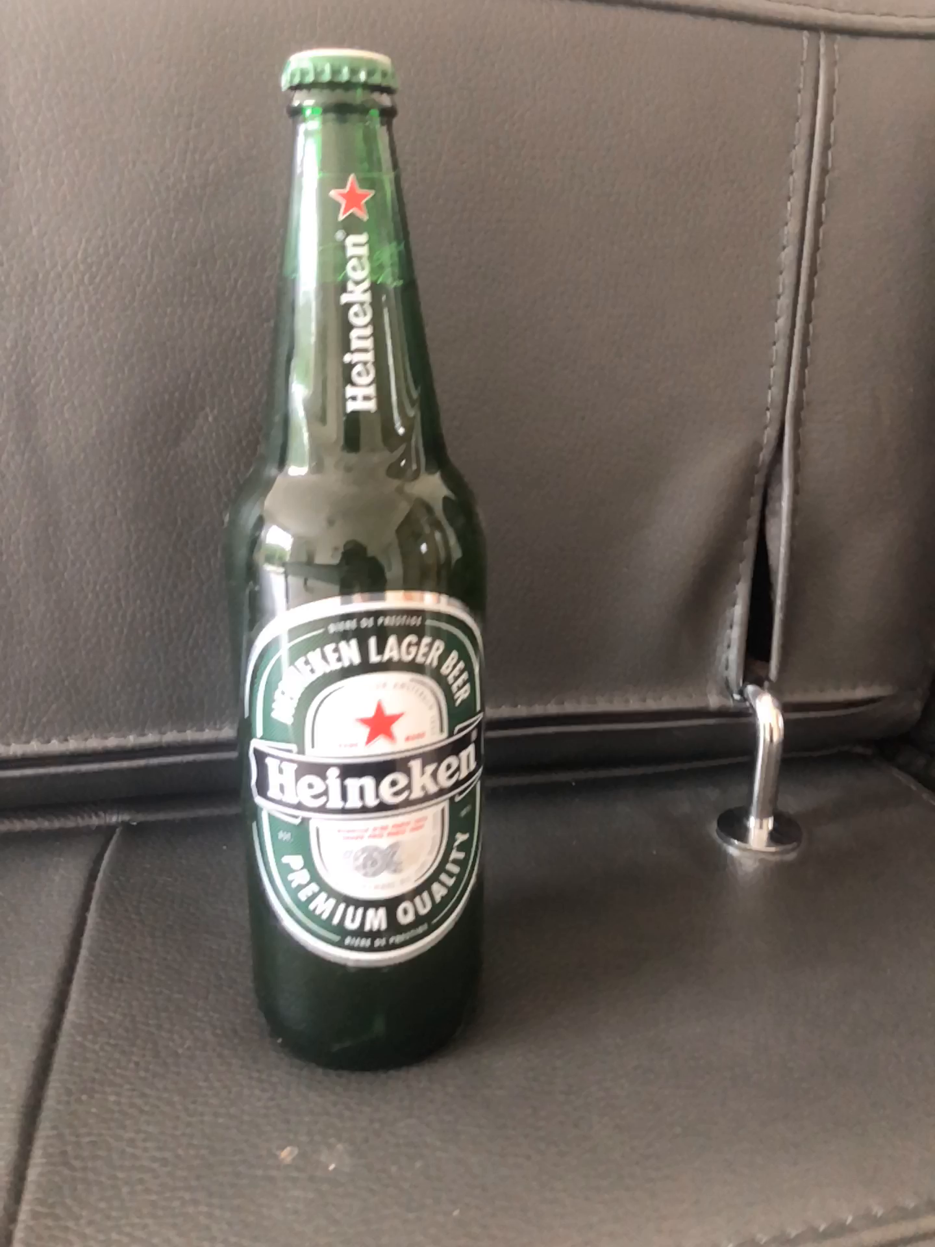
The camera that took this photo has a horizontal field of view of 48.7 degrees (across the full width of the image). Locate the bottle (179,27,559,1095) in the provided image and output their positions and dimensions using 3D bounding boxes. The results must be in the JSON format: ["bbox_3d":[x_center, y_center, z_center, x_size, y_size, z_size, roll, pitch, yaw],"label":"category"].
[{"bbox_3d":[-0.030,-0.008,0.296,0.080,0.269,0.080,1,19,0],"label":"bottle"}]
